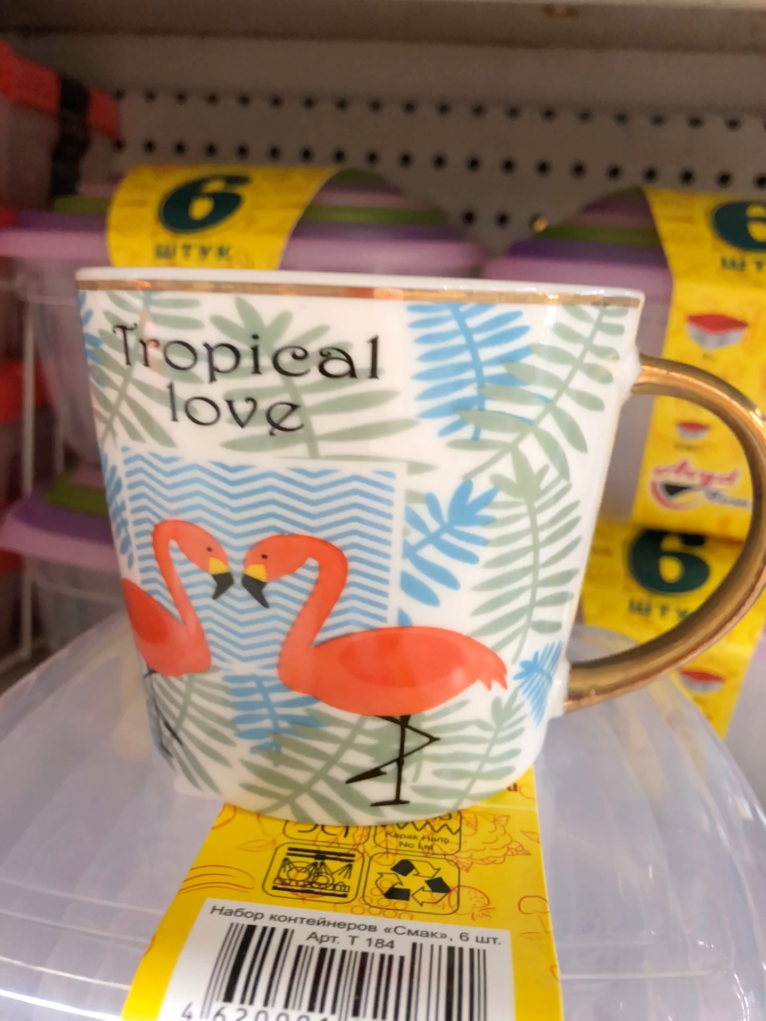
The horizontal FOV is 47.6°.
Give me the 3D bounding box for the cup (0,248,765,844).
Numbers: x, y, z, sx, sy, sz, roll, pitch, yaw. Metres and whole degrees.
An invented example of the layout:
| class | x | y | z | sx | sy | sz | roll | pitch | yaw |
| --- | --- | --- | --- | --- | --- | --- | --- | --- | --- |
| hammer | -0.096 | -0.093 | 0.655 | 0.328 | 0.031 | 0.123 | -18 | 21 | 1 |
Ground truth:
| class | x | y | z | sx | sy | sz | roll | pitch | yaw |
| --- | --- | --- | --- | --- | --- | --- | --- | --- | --- |
| cup | 0.002 | -0.004 | 0.173 | 0.128 | 0.085 | 0.102 | 0 | 15 | -5 |
